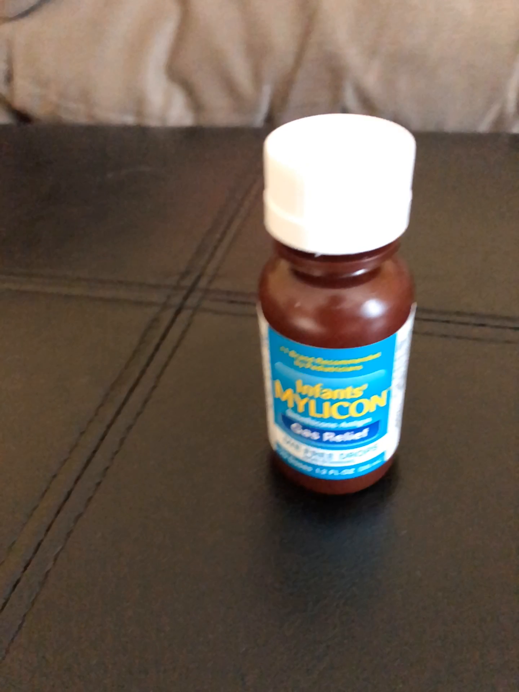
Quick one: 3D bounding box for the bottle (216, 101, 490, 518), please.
[{"bbox_3d":[0.019,-0.004,0.128,0.040,0.080,0.040,-4,40,3],"label":"bottle"}]
